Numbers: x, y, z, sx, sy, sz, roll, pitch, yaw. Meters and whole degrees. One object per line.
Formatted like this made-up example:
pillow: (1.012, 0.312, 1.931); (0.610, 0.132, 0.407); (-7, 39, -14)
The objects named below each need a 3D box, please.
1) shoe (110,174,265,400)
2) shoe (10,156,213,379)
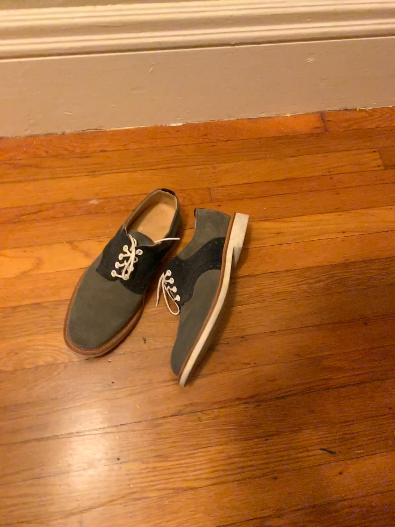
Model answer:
shoe: (-0.006, 0.036, 0.638); (0.120, 0.130, 0.310); (19, 68, 6)
shoe: (-0.114, 0.001, 0.624); (0.130, 0.100, 0.310); (30, 70, 8)
